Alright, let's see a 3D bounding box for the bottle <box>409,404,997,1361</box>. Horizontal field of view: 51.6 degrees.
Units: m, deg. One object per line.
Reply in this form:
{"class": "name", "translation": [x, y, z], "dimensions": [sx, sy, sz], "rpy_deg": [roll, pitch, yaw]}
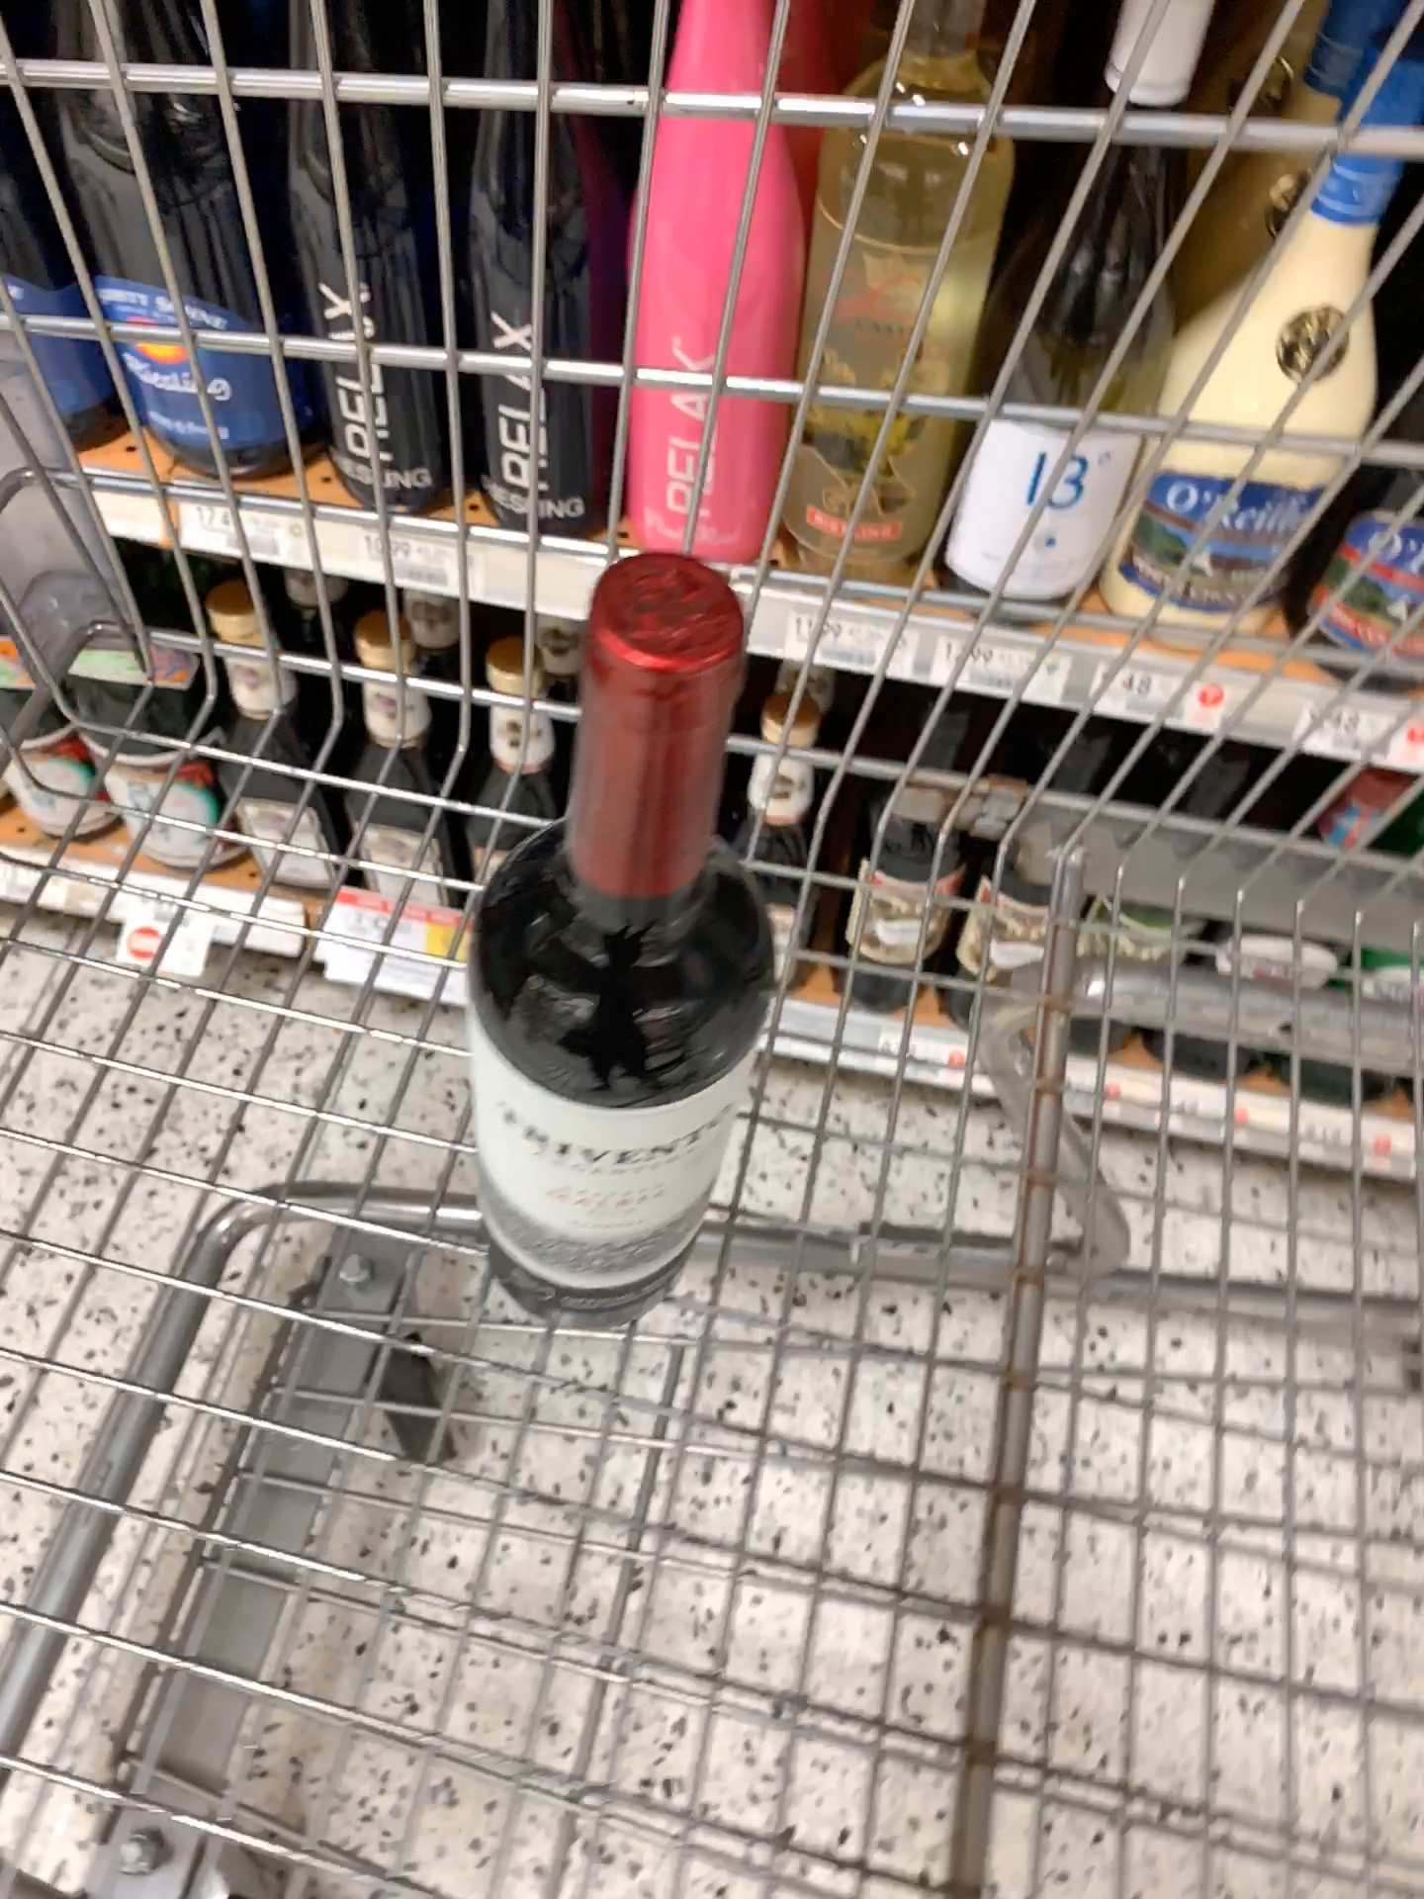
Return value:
{"class": "bottle", "translation": [-0.017, 0.018, 0.371], "dimensions": [0.090, 0.298, 0.081], "rpy_deg": [6, 58, -5]}
